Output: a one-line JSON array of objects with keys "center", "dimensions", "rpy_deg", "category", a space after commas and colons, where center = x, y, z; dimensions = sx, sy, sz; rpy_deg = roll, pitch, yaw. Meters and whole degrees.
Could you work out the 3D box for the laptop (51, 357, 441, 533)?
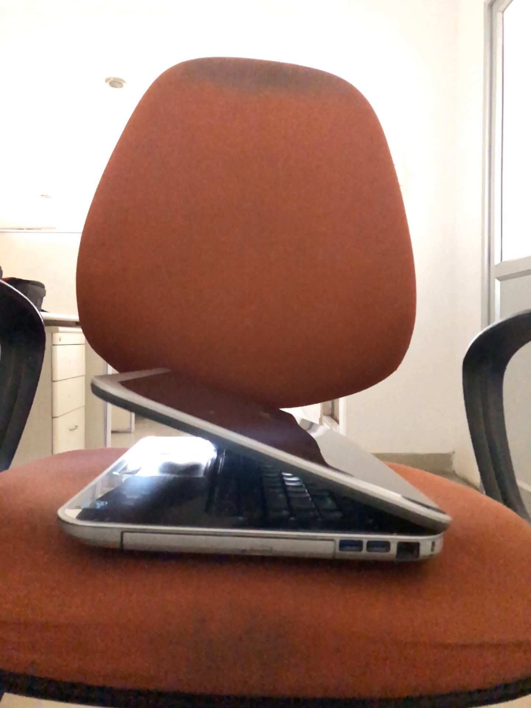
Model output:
[{"center": [-0.018, 0.057, 0.531], "dimensions": [0.233, 0.091, 0.366], "rpy_deg": [3, -1, -2], "category": "laptop"}]
